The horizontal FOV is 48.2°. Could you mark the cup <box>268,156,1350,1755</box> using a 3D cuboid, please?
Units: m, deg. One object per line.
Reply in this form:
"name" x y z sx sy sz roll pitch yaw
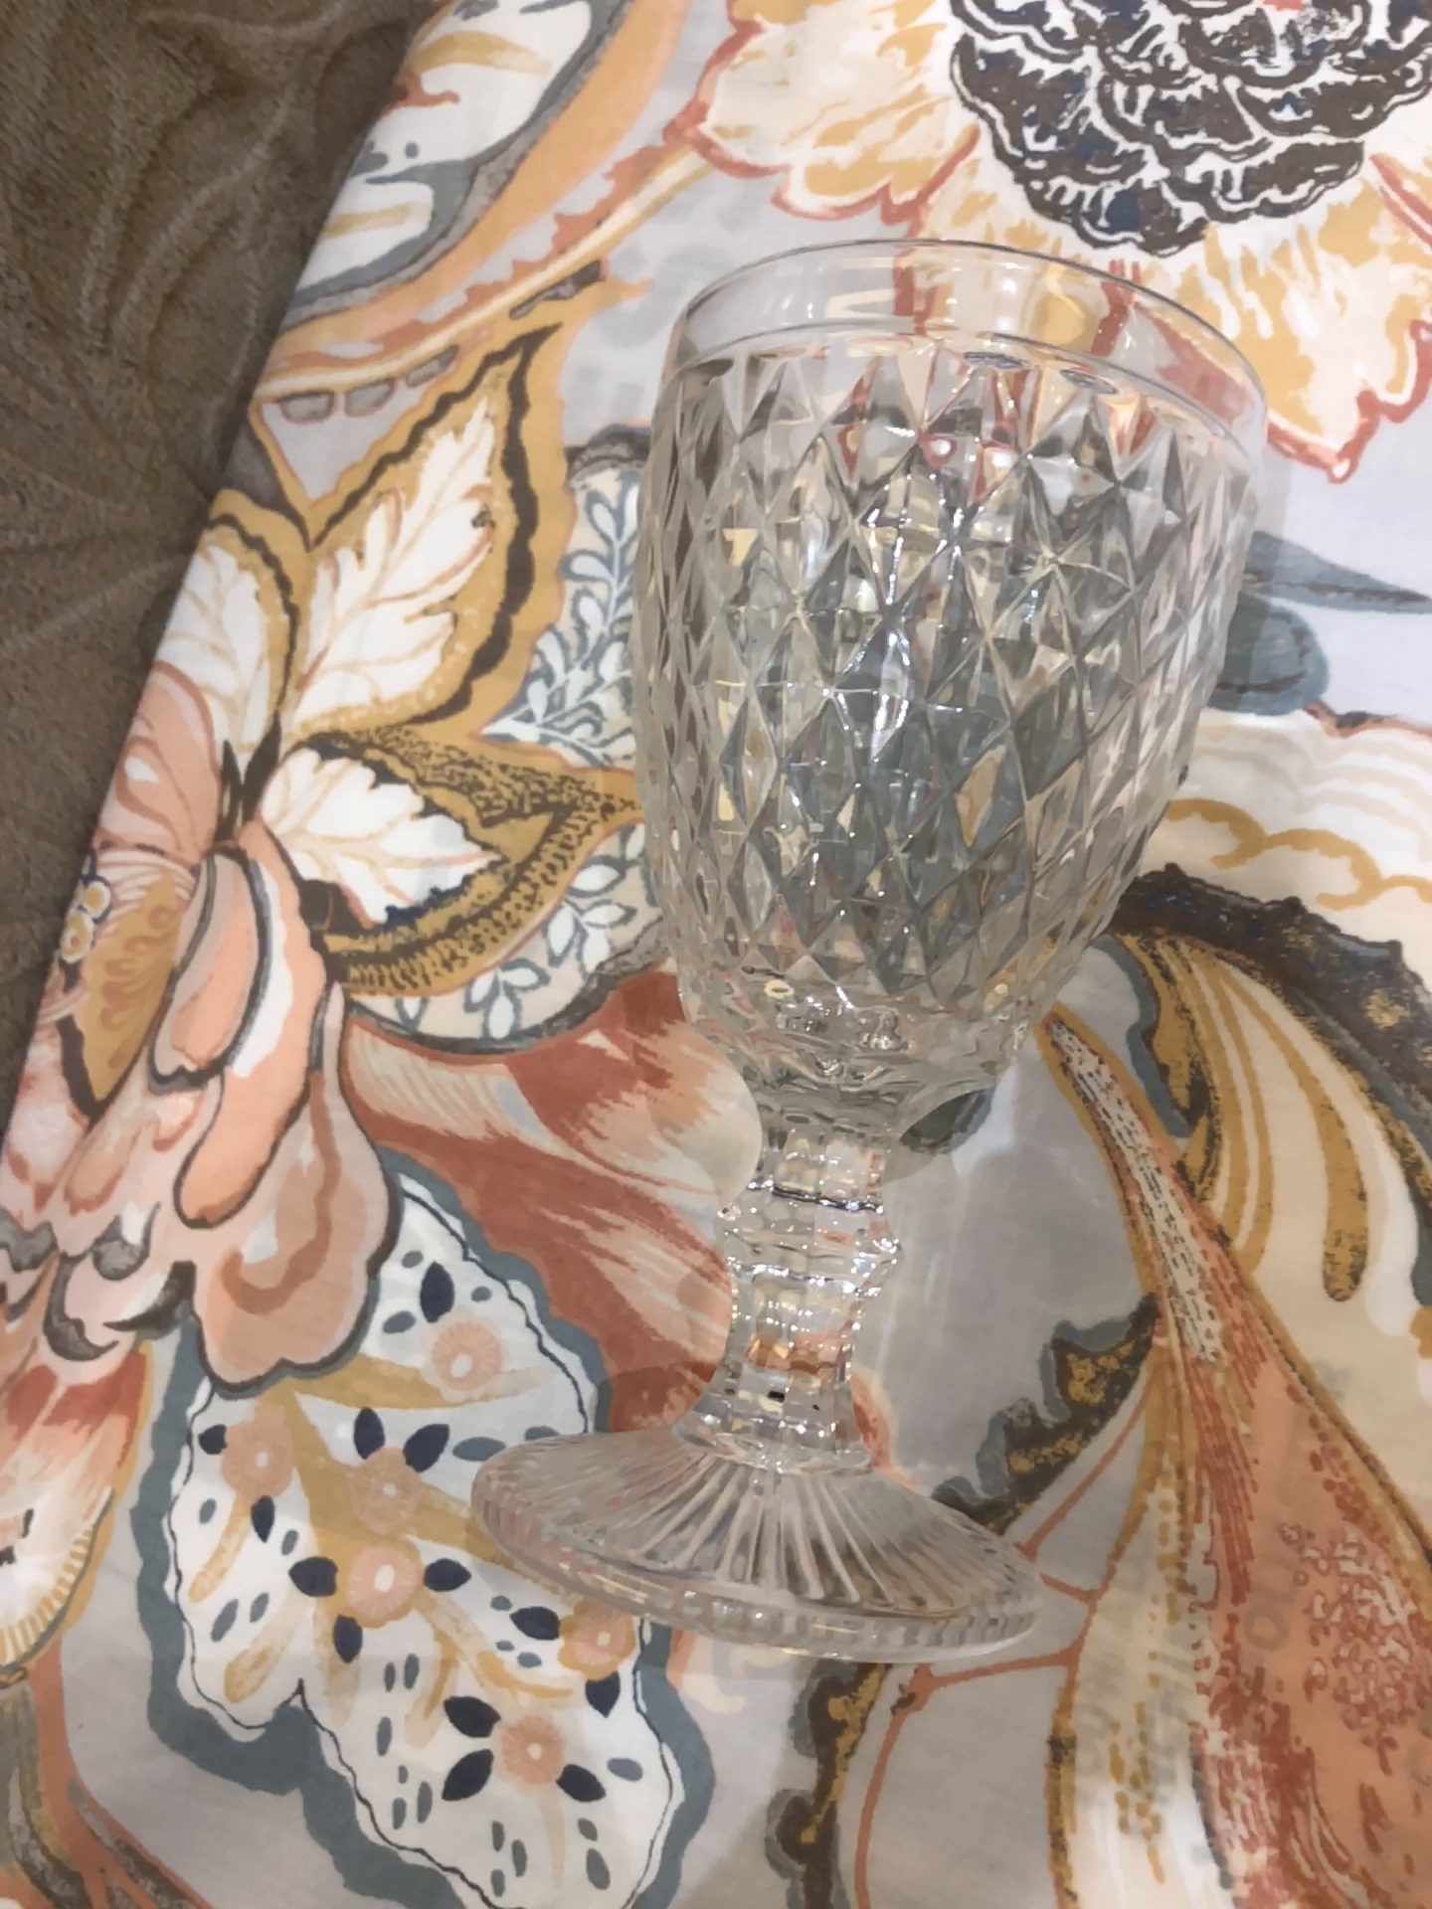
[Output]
"cup" 0.020 -0.004 0.218 0.090 0.080 0.170 10 81 15
